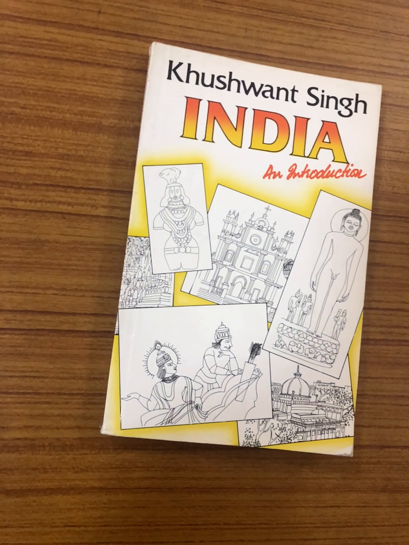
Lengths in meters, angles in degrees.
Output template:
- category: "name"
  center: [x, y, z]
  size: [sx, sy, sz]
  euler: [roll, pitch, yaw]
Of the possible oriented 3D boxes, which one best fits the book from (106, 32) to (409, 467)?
- category: "book"
  center: [0.036, -0.009, 0.227]
  size: [0.140, 0.020, 0.190]
  euler: [8, 85, -9]
